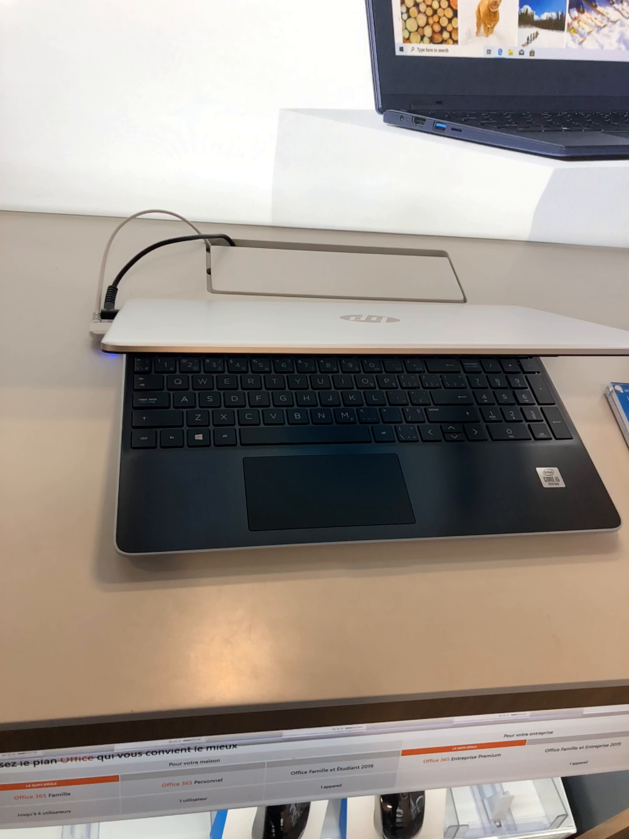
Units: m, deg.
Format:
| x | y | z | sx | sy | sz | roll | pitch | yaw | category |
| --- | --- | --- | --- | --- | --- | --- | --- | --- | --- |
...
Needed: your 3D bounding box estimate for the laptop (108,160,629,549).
| x | y | z | sx | sy | sz | roll | pitch | yaw | category |
| --- | --- | --- | --- | --- | --- | --- | --- | --- | --- |
| 0.043 | -0.054 | 0.488 | 0.346 | 0.131 | 0.230 | -1 | 49 | -12 | laptop |
